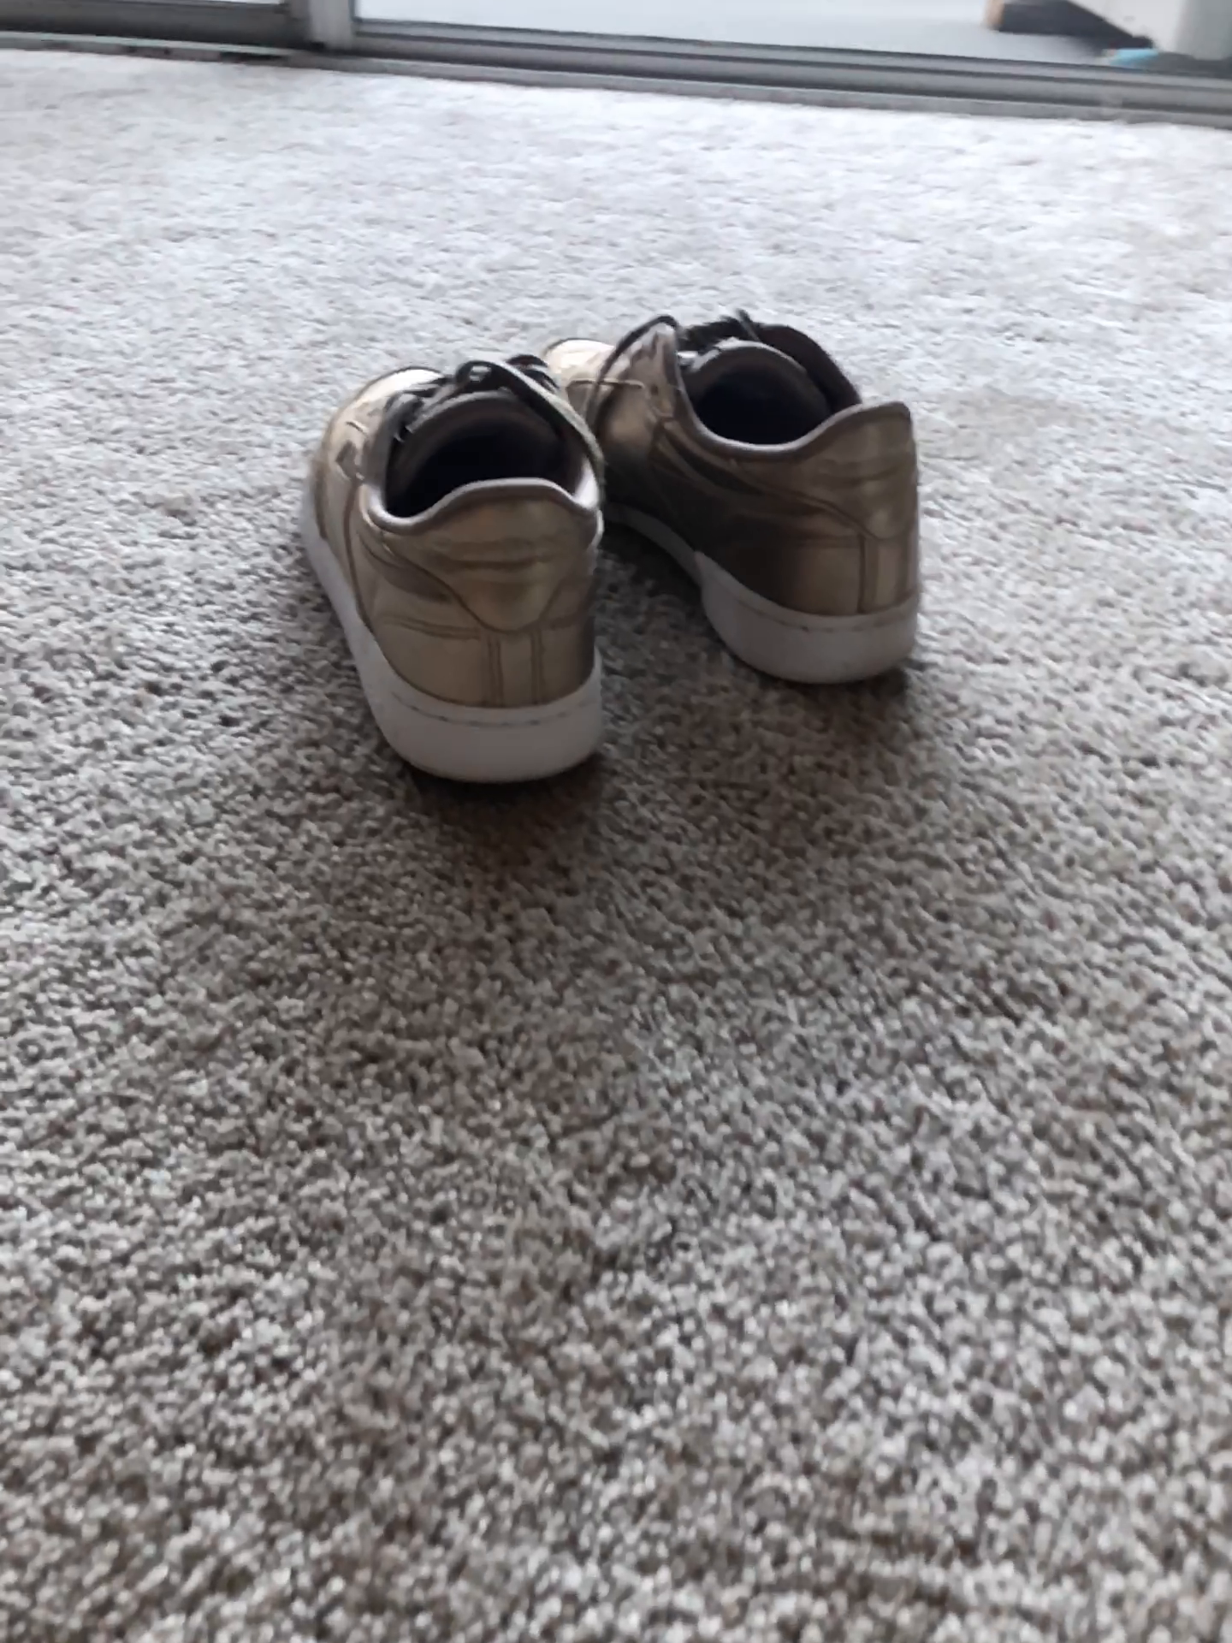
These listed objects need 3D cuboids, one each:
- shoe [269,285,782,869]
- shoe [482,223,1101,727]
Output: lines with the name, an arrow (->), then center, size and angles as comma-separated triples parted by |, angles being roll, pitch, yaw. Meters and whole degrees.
shoe -> -0.049, -0.106, 0.476 | 0.110, 0.070, 0.281 | -8, 39, -15
shoe -> 0.043, -0.150, 0.517 | 0.110, 0.070, 0.281 | -11, 40, -19
